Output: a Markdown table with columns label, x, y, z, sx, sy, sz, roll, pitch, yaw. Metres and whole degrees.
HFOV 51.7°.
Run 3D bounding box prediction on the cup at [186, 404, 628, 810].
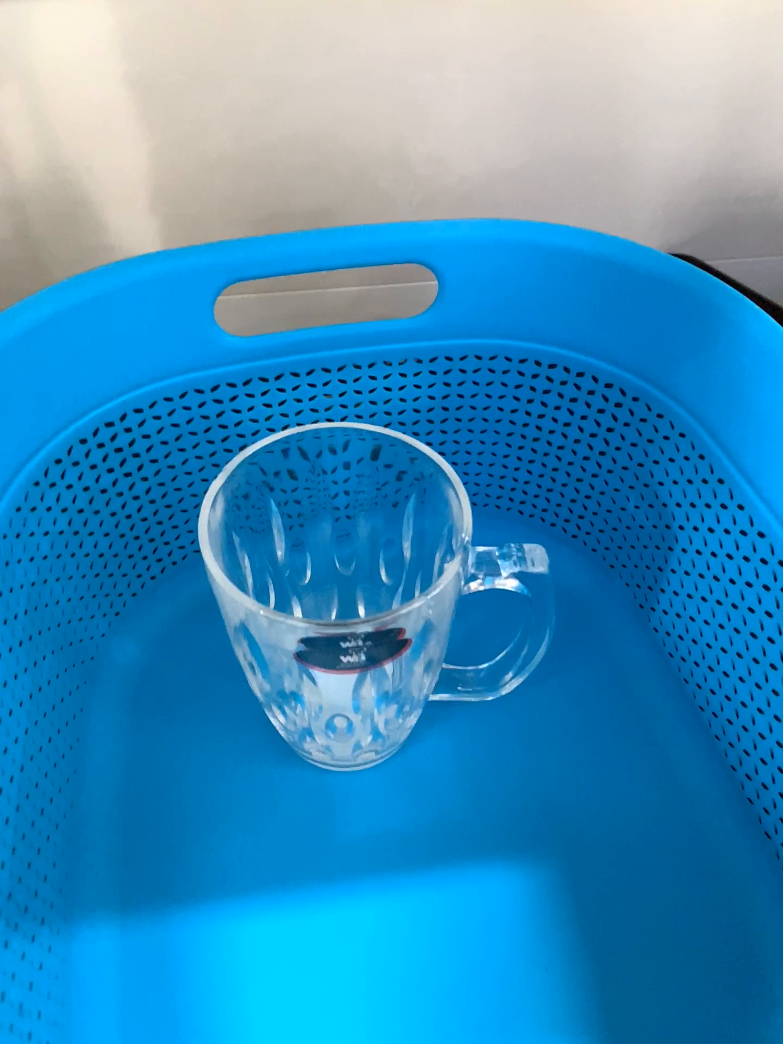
| label | x | y | z | sx | sy | sz | roll | pitch | yaw |
| --- | --- | --- | --- | --- | --- | --- | --- | --- | --- |
| cup | 0.001 | 0.031 | 0.269 | 0.110 | 0.109 | 0.081 | -3 | 49 | -3 |
